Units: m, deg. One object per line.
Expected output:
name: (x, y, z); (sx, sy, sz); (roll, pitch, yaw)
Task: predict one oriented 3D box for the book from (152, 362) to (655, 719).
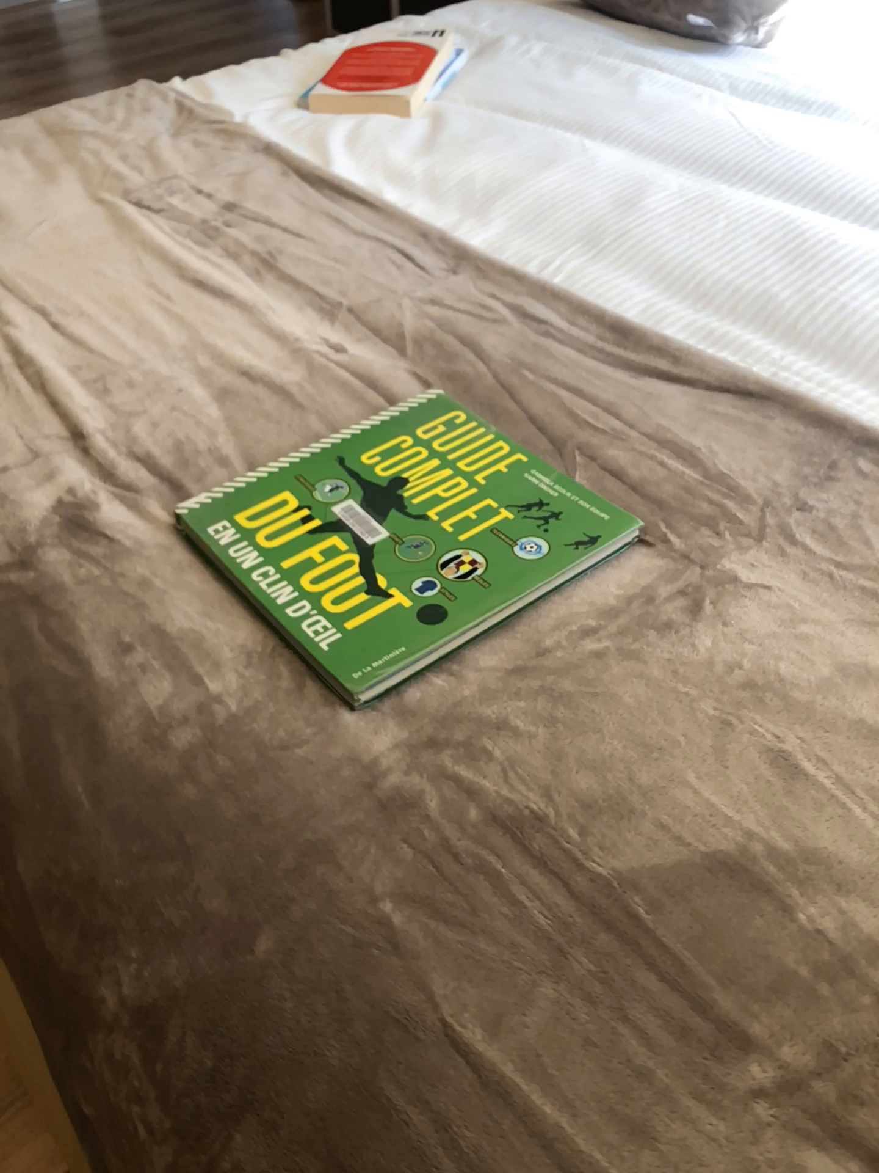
book: (-0.027, -0.050, 0.636); (0.239, 0.018, 0.228); (-30, 51, -25)
